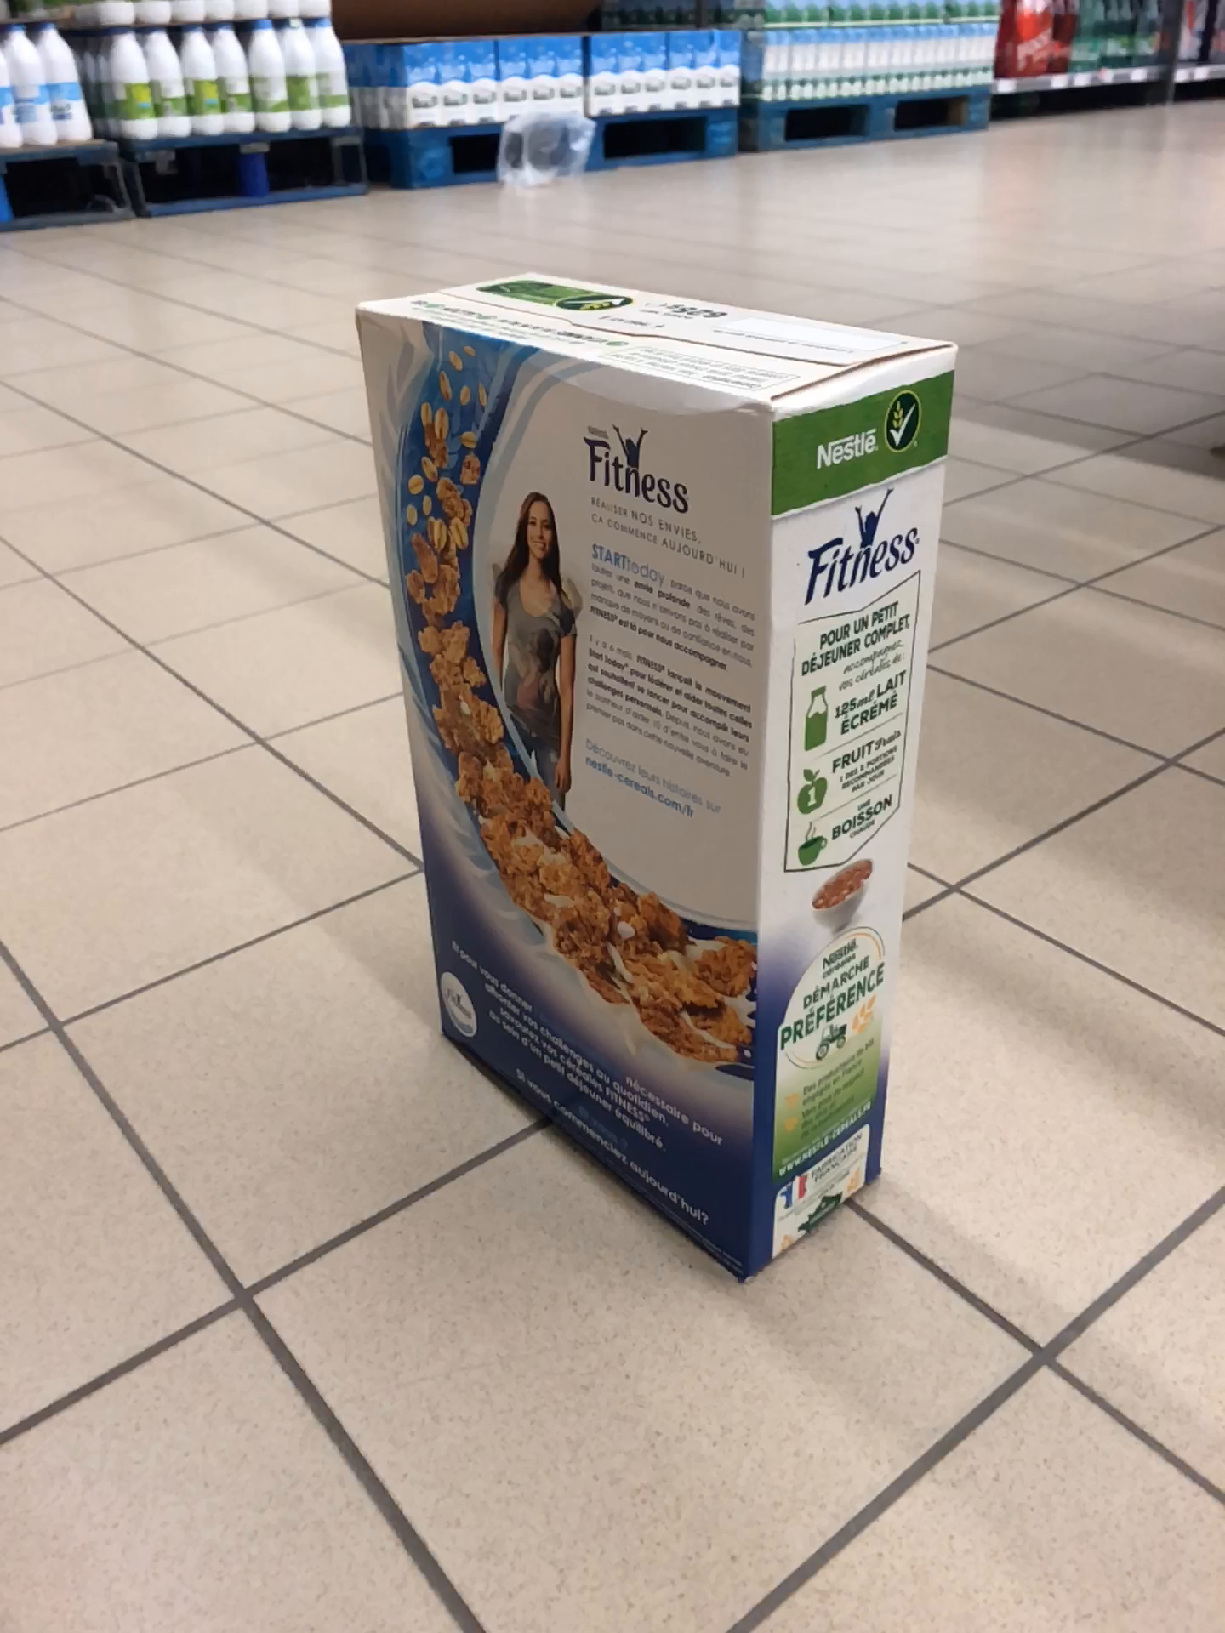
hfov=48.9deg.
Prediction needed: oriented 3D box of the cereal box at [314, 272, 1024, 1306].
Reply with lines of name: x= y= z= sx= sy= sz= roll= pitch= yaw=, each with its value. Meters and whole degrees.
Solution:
cereal box: x=0.009 y=-0.018 z=0.475 sx=0.090 sy=0.298 sz=0.210 roll=-25 pitch=37 yaw=-36
